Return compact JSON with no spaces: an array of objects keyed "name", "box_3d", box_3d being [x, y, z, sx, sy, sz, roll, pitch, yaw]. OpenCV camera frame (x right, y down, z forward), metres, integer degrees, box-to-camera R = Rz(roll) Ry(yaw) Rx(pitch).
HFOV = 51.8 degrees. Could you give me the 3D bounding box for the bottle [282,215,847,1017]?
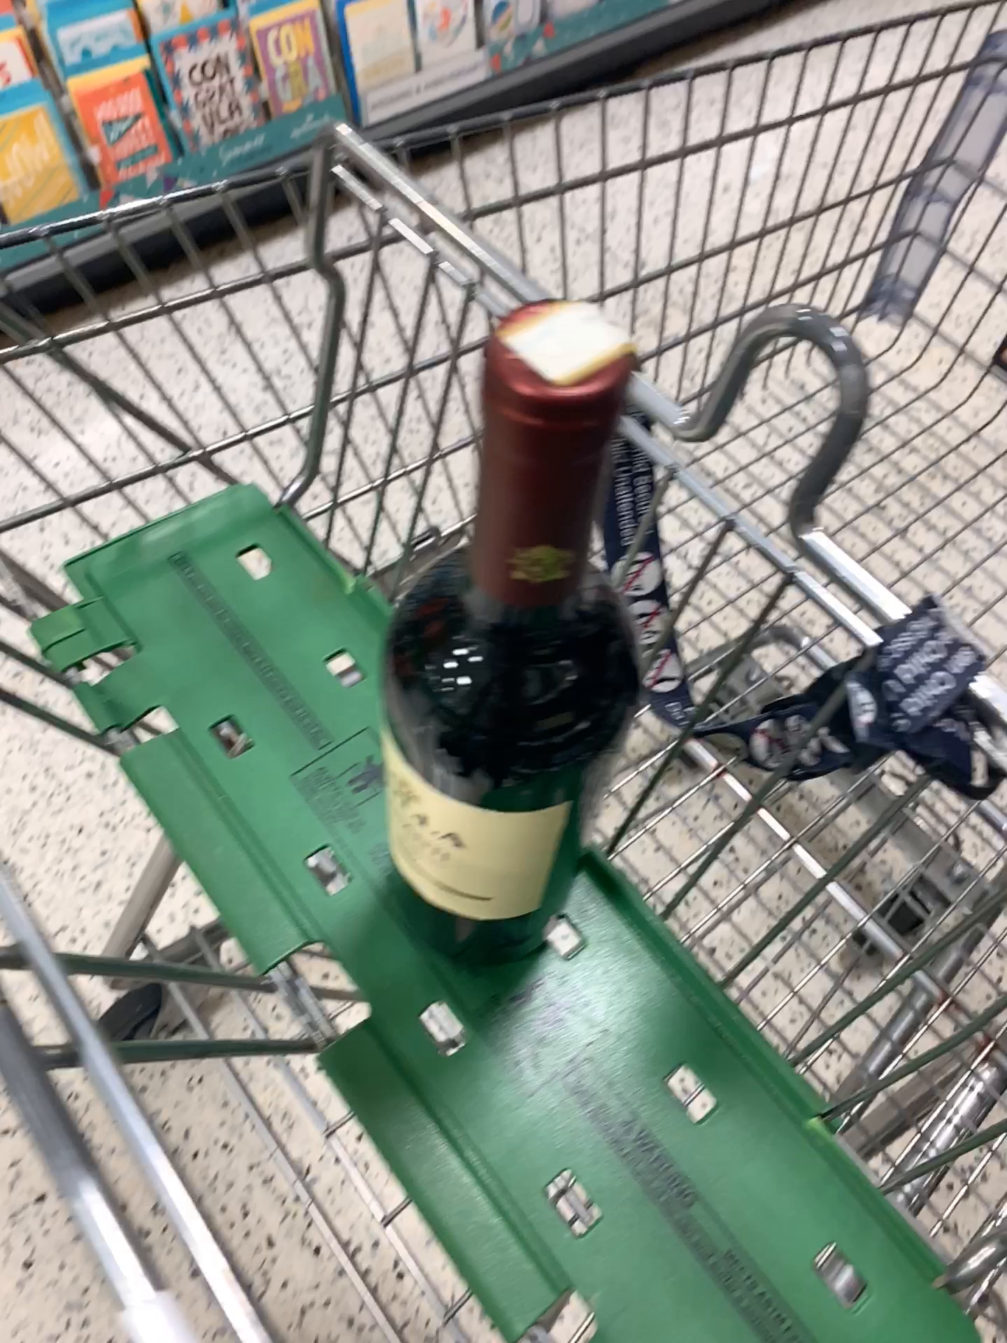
[{"name":"bottle","box_3d":[0.002,0.015,0.317,0.080,0.268,0.080,2,58,-3]}]
